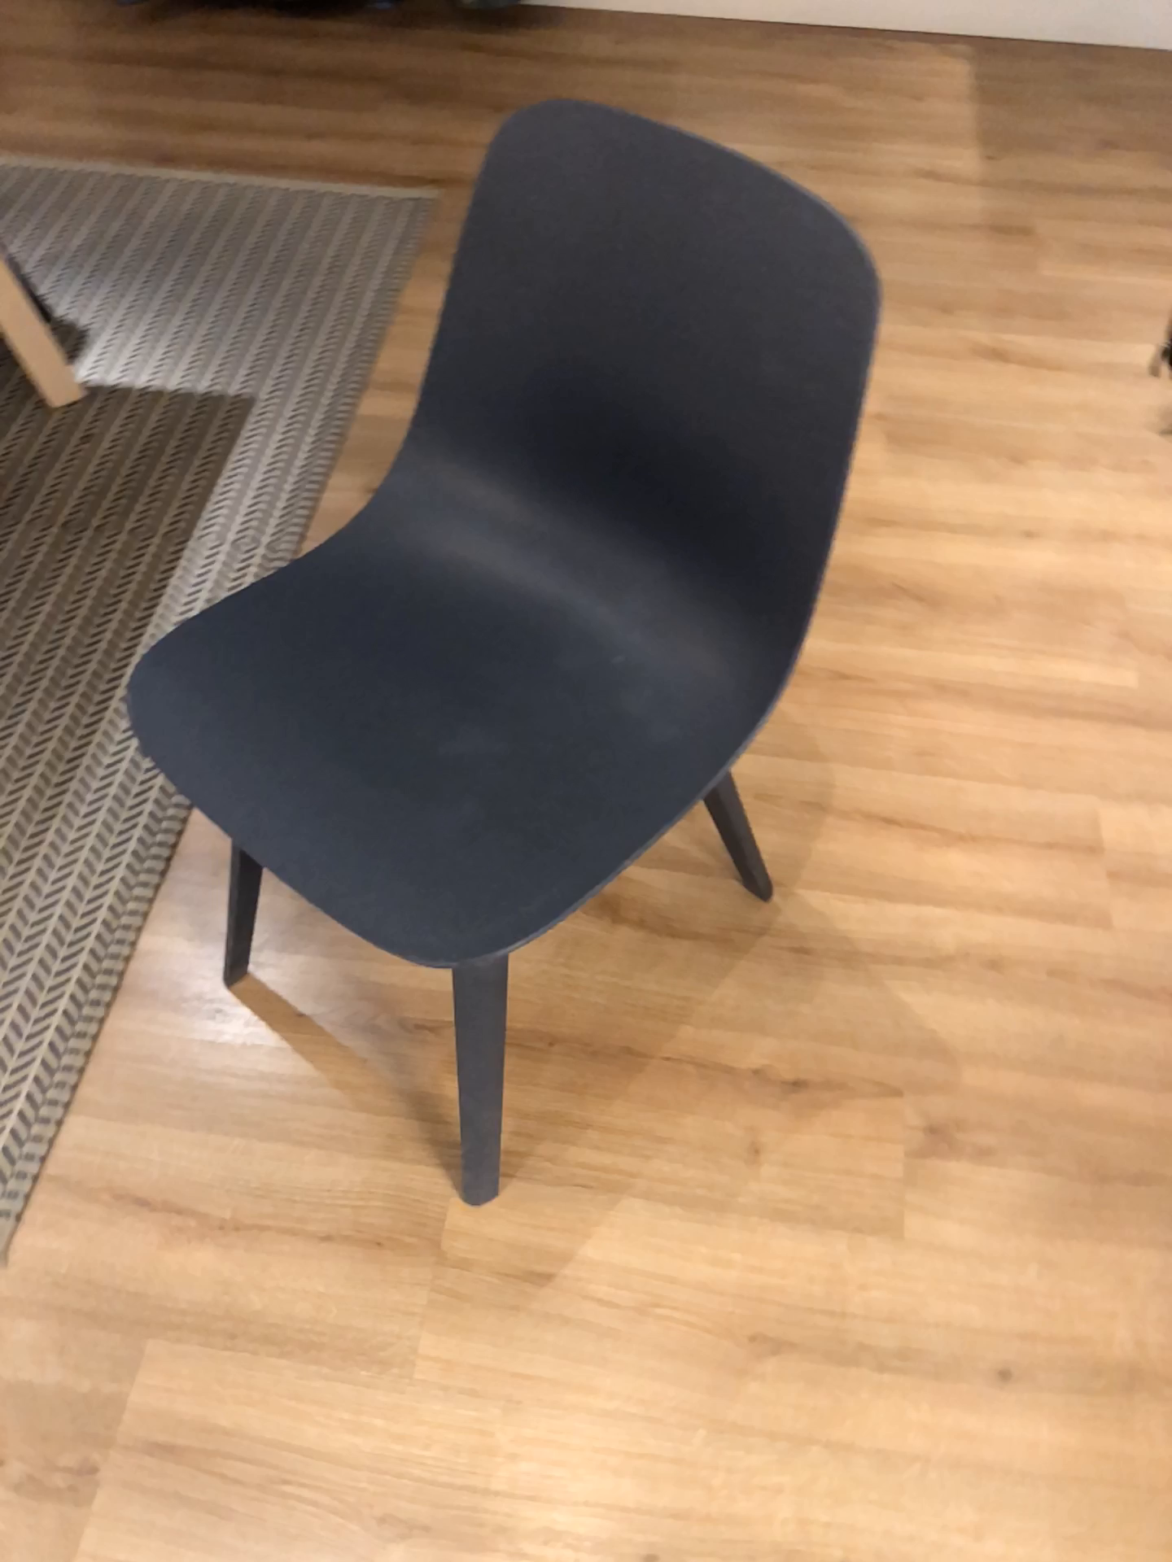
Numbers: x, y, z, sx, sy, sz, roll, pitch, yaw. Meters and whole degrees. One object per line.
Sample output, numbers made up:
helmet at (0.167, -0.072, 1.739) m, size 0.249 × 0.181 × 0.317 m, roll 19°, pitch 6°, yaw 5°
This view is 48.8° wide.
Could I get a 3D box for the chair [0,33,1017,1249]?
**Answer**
chair at (-0.079, -0.091, 1.102) m, size 0.470 × 0.728 × 0.561 m, roll 34°, pitch 59°, yaw 23°
